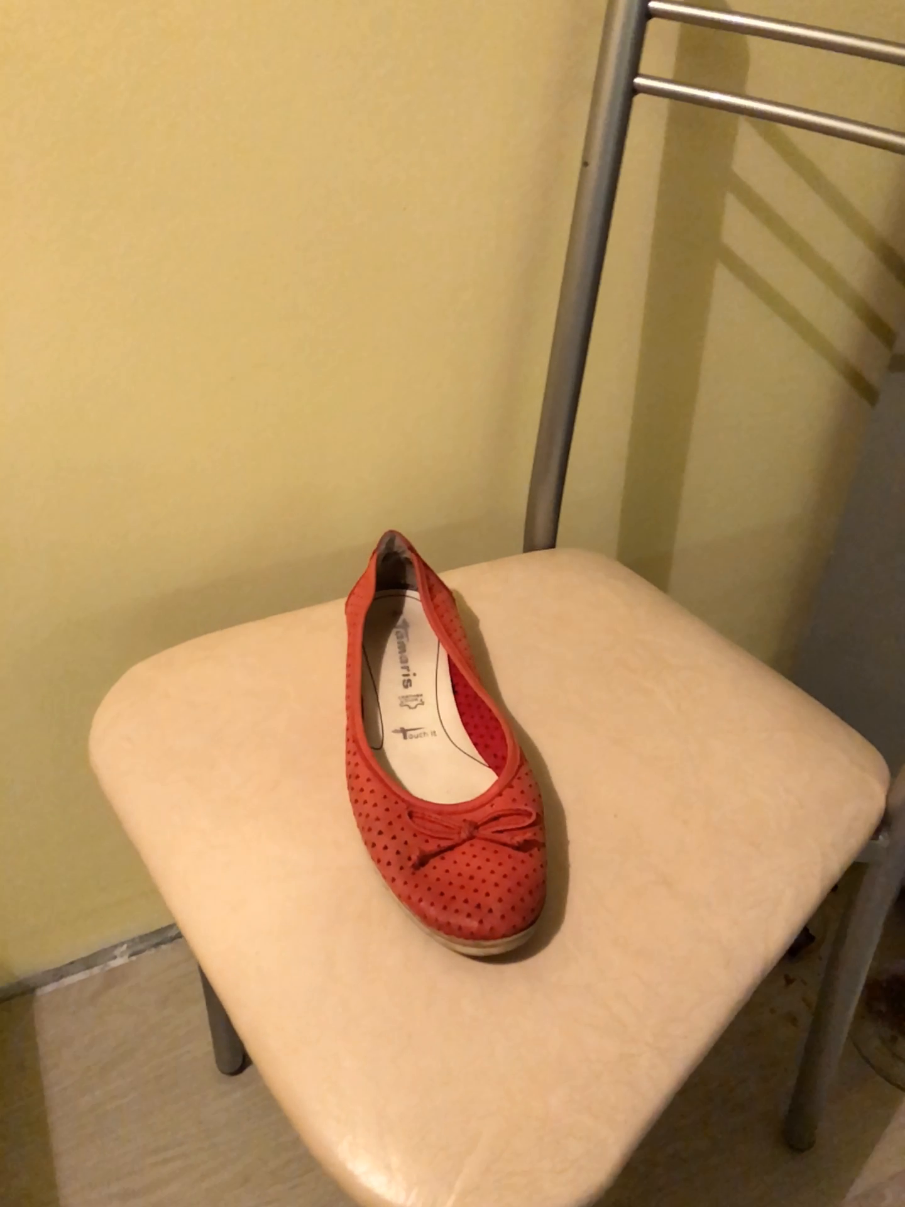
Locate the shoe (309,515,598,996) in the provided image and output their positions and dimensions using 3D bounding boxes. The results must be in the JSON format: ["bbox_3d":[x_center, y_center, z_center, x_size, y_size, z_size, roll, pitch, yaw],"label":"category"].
[{"bbox_3d":[-0.013,0.061,0.522,0.100,0.080,0.252,-6,40,-9],"label":"shoe"}]
